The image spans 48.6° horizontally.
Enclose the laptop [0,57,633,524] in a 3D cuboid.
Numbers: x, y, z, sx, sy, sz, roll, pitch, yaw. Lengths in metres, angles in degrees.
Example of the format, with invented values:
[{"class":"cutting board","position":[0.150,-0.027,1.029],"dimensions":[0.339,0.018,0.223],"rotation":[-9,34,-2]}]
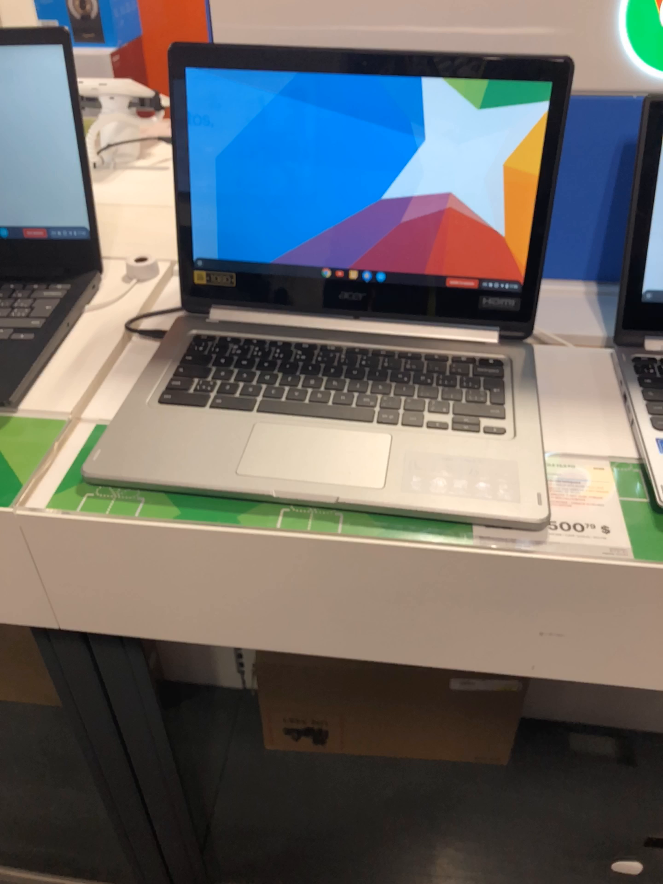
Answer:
[{"class":"laptop","position":[-0.002,-0.122,0.520],"dimensions":[0.317,0.226,0.240],"rotation":[5,38,7]}]
